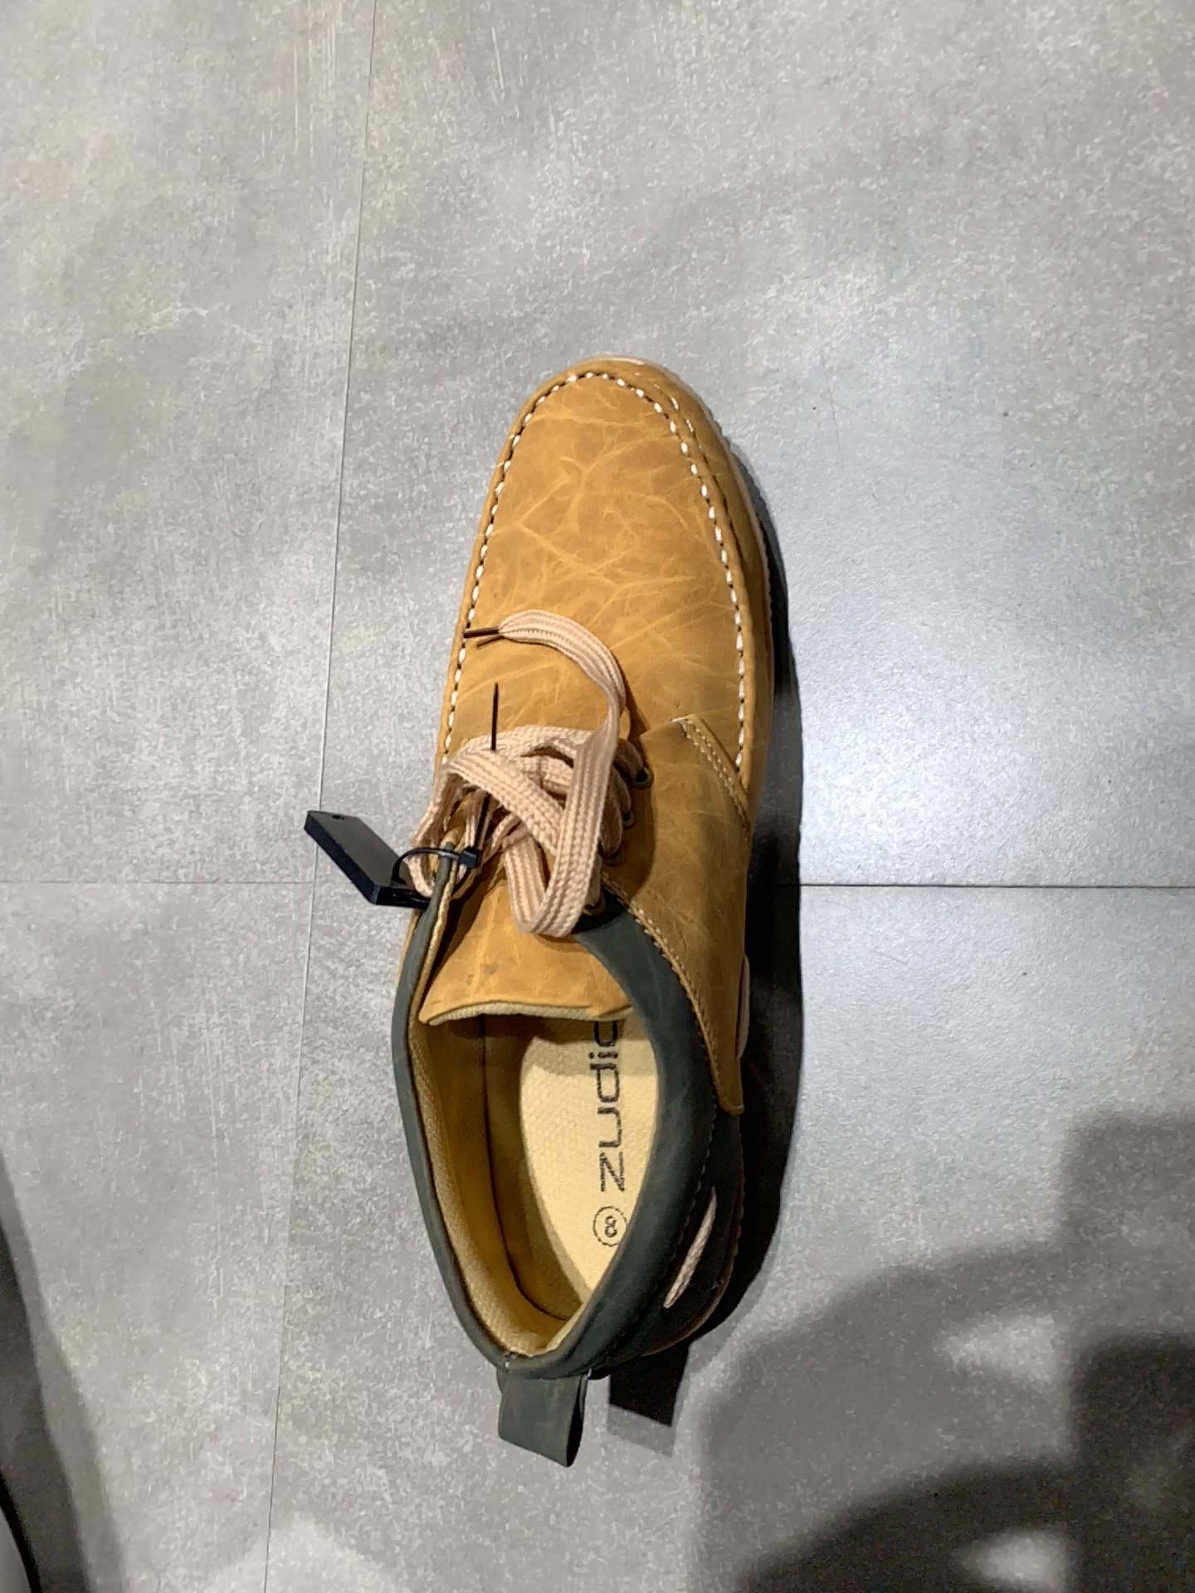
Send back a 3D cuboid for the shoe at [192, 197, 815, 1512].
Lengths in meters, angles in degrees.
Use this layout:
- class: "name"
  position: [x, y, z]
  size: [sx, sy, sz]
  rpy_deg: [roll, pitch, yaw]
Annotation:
- class: "shoe"
  position: [-0.013, 0.012, 0.319]
  size: [0.111, 0.117, 0.267]
  rpy_deg: [-3, 79, 20]
